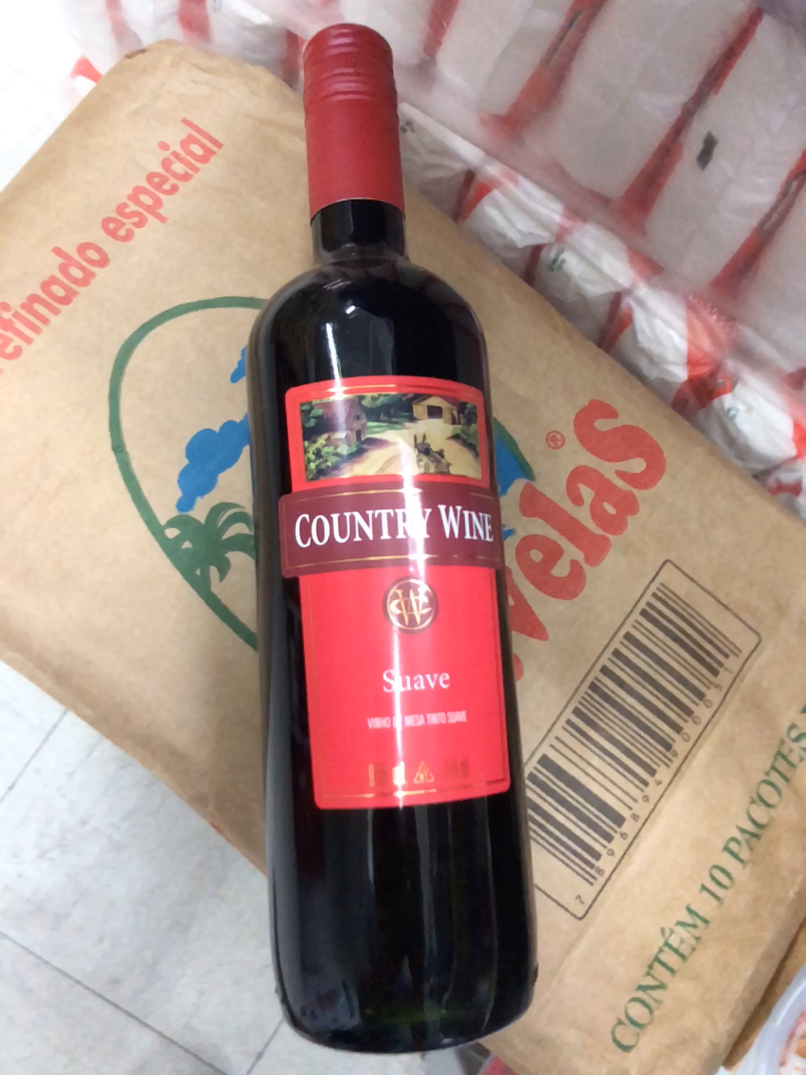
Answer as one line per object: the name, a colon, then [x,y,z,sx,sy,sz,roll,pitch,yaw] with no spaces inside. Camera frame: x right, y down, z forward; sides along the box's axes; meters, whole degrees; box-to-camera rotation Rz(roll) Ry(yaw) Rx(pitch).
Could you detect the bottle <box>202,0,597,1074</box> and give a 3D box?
bottle: [-0.005,-0.011,0.252,0.080,0.060,0.290,-3,86,-7]
